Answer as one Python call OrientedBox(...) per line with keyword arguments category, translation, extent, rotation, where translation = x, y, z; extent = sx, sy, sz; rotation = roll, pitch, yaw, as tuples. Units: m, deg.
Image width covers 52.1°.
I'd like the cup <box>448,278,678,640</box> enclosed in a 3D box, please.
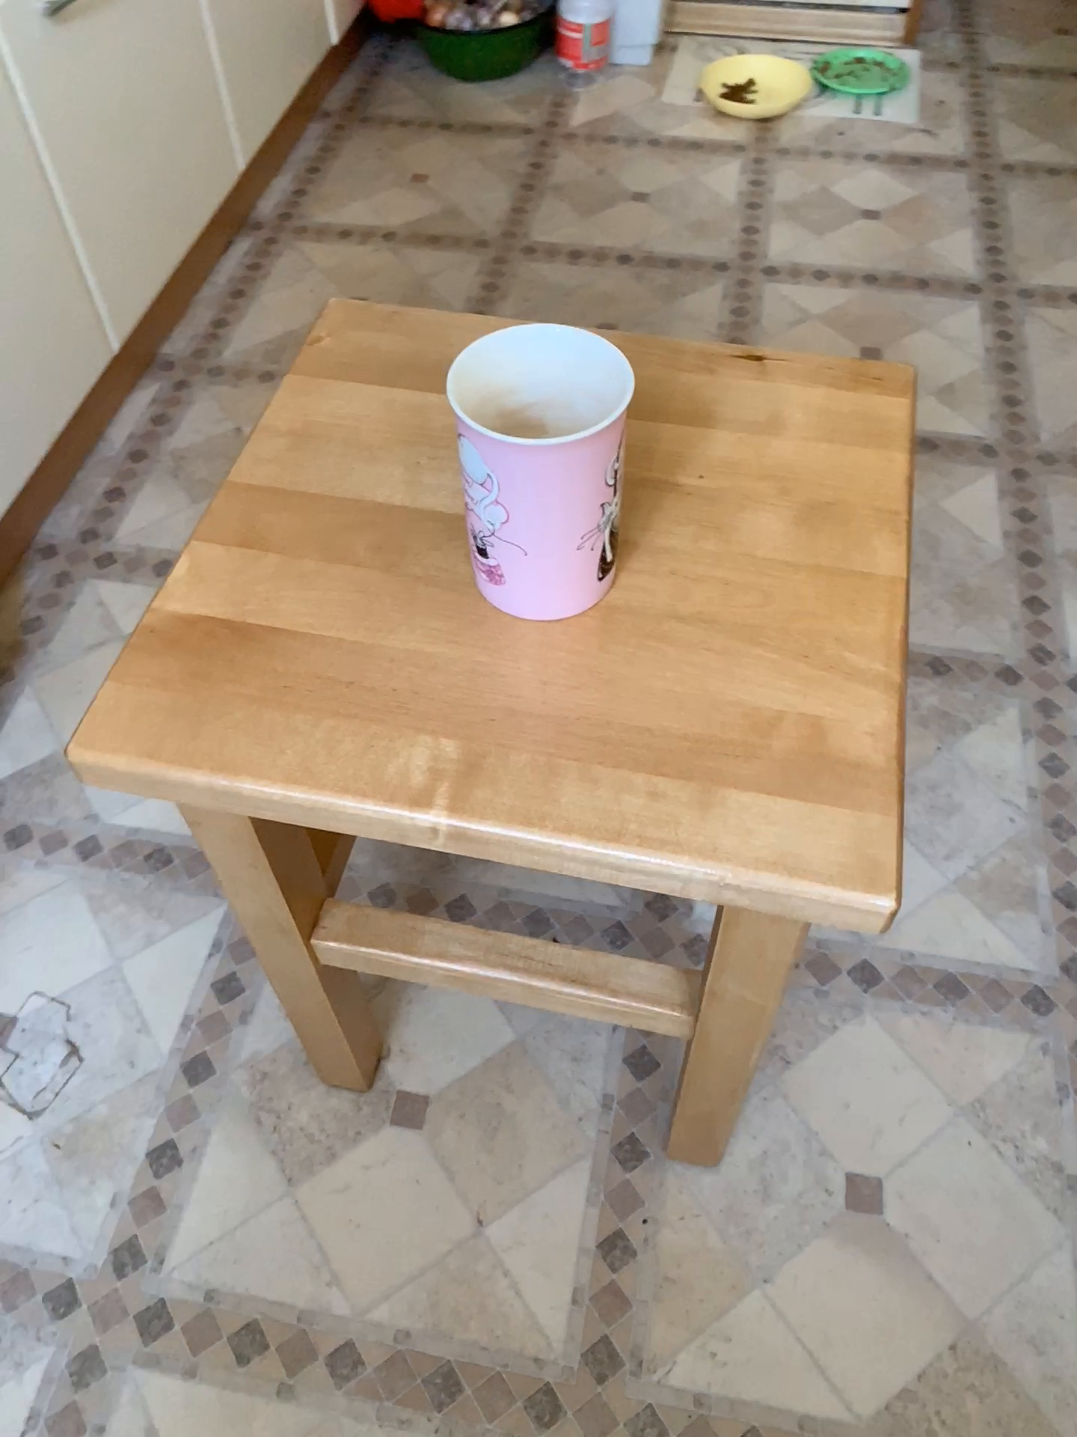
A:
OrientedBox(category="cup", translation=(0.007, -0.111, 0.476), extent=(0.080, 0.099, 0.111), rotation=(-5, 53, -2))
